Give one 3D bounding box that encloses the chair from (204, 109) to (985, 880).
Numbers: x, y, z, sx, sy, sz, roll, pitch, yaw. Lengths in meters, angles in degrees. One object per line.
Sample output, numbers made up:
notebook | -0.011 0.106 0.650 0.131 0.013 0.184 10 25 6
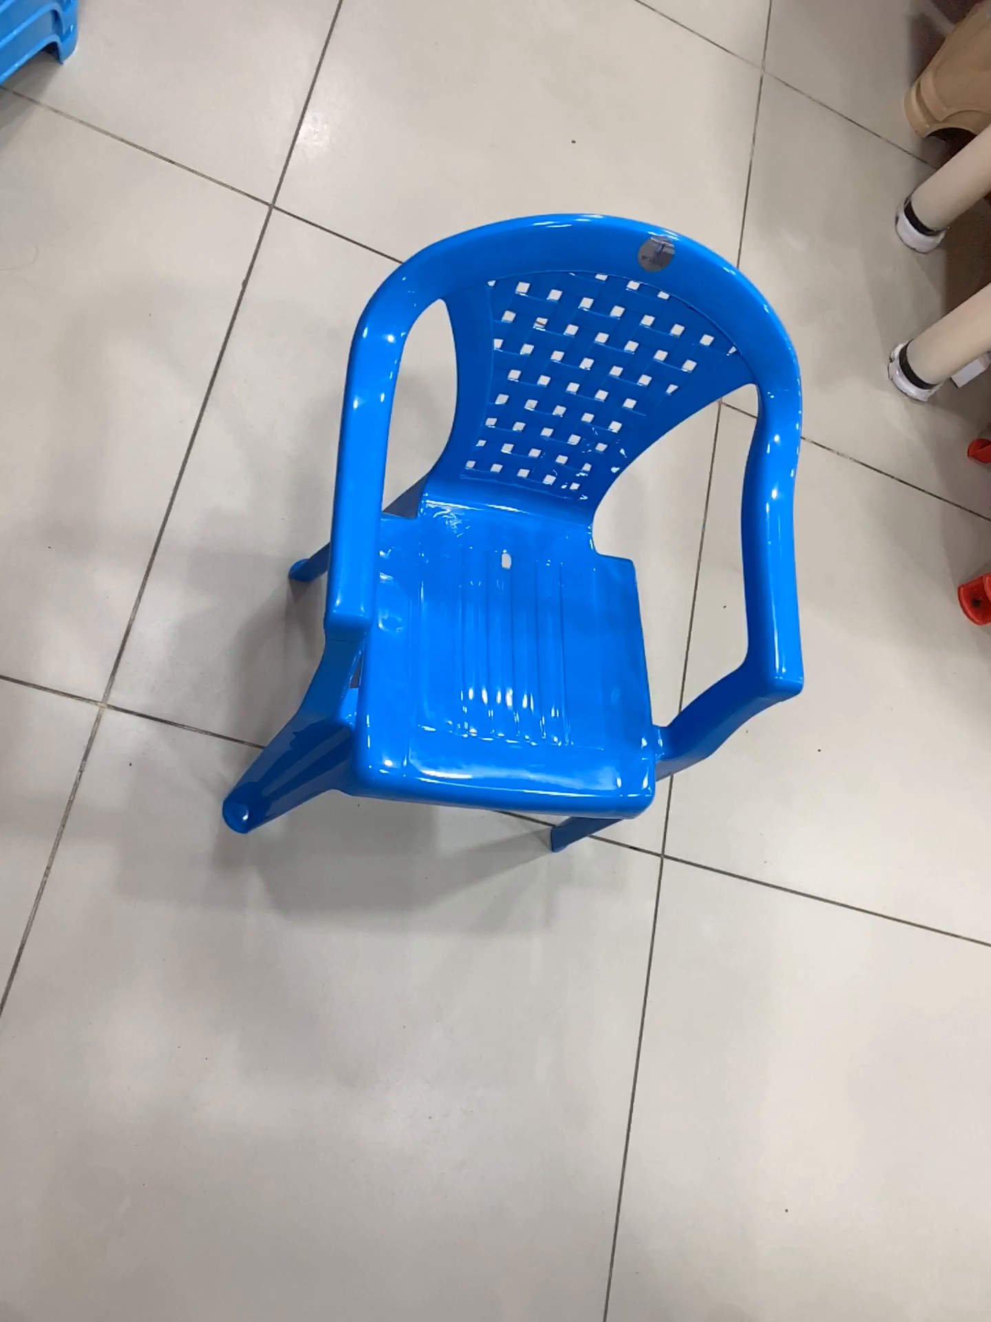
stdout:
chair | 0.018 -0.040 0.777 0.370 0.499 0.340 9 71 -20
